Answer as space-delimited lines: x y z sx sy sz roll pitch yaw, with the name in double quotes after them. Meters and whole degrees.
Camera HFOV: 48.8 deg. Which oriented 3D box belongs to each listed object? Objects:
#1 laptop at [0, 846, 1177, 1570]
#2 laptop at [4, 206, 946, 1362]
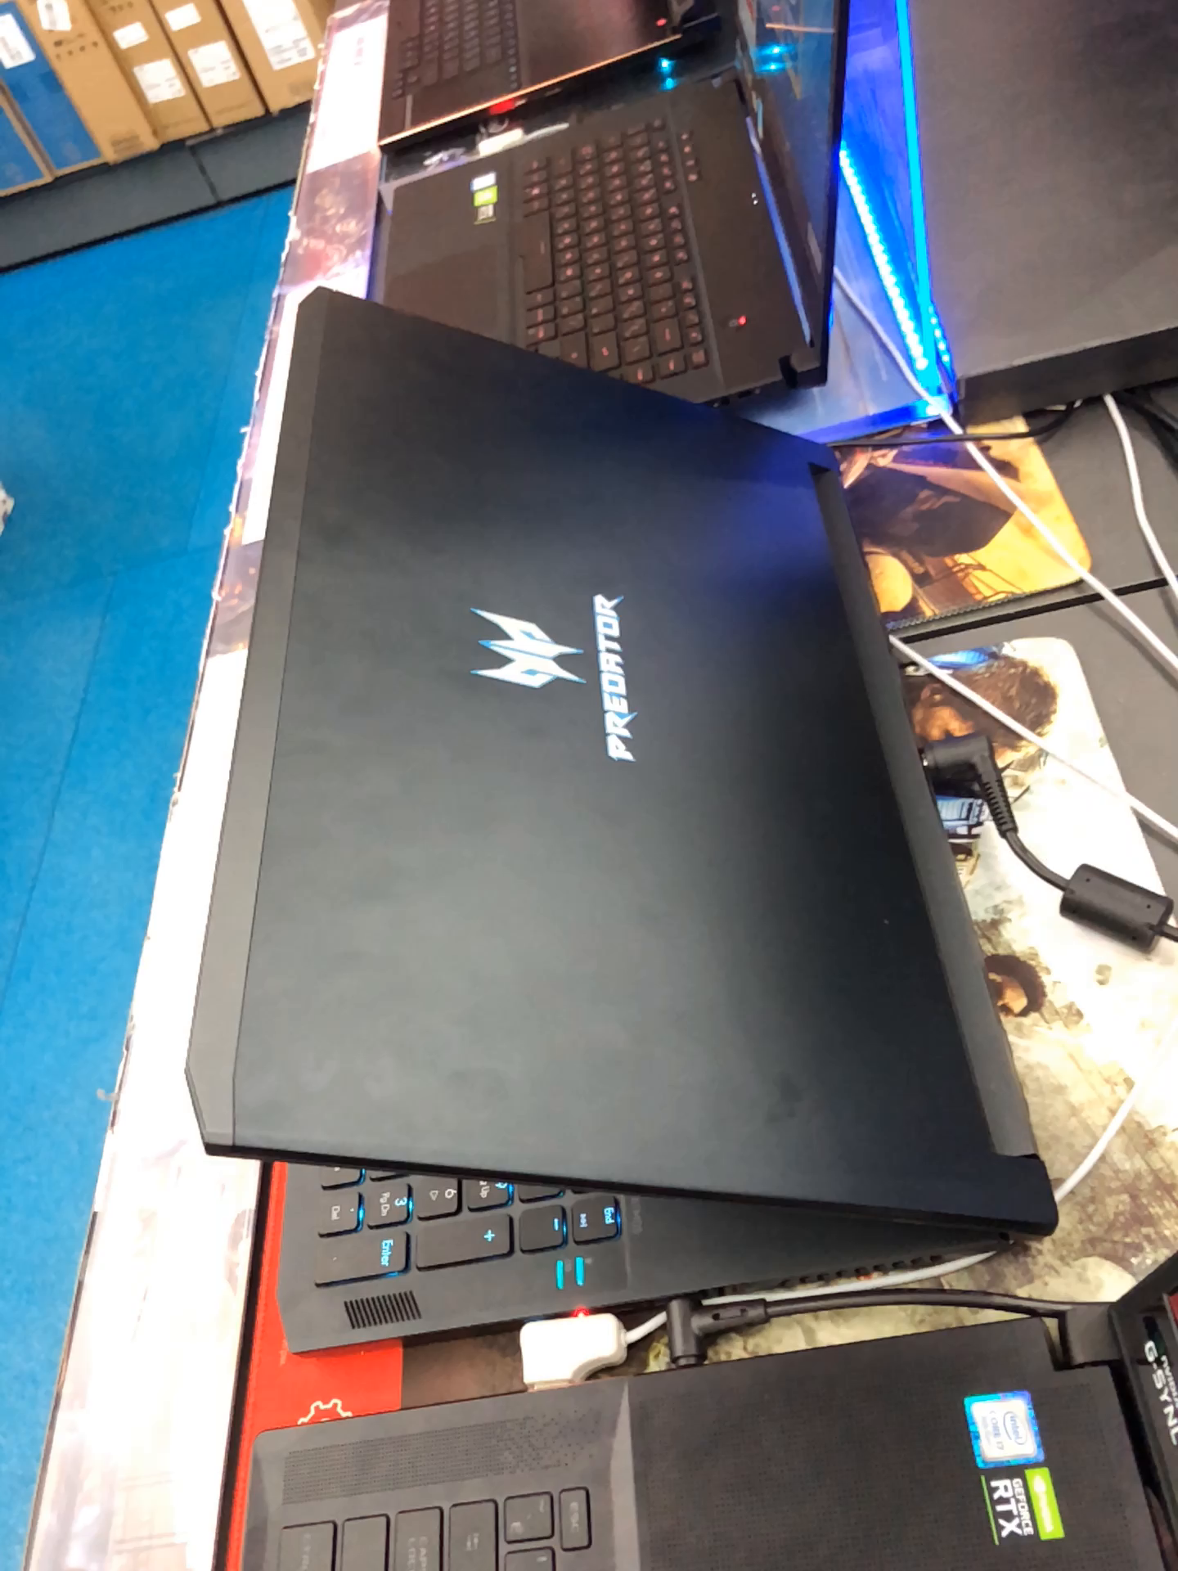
0.028 0.262 0.176 0.363 0.236 0.373 -12 49 11 "laptop"
-0.027 -0.018 0.479 0.226 0.152 0.372 -13 49 12 "laptop"
